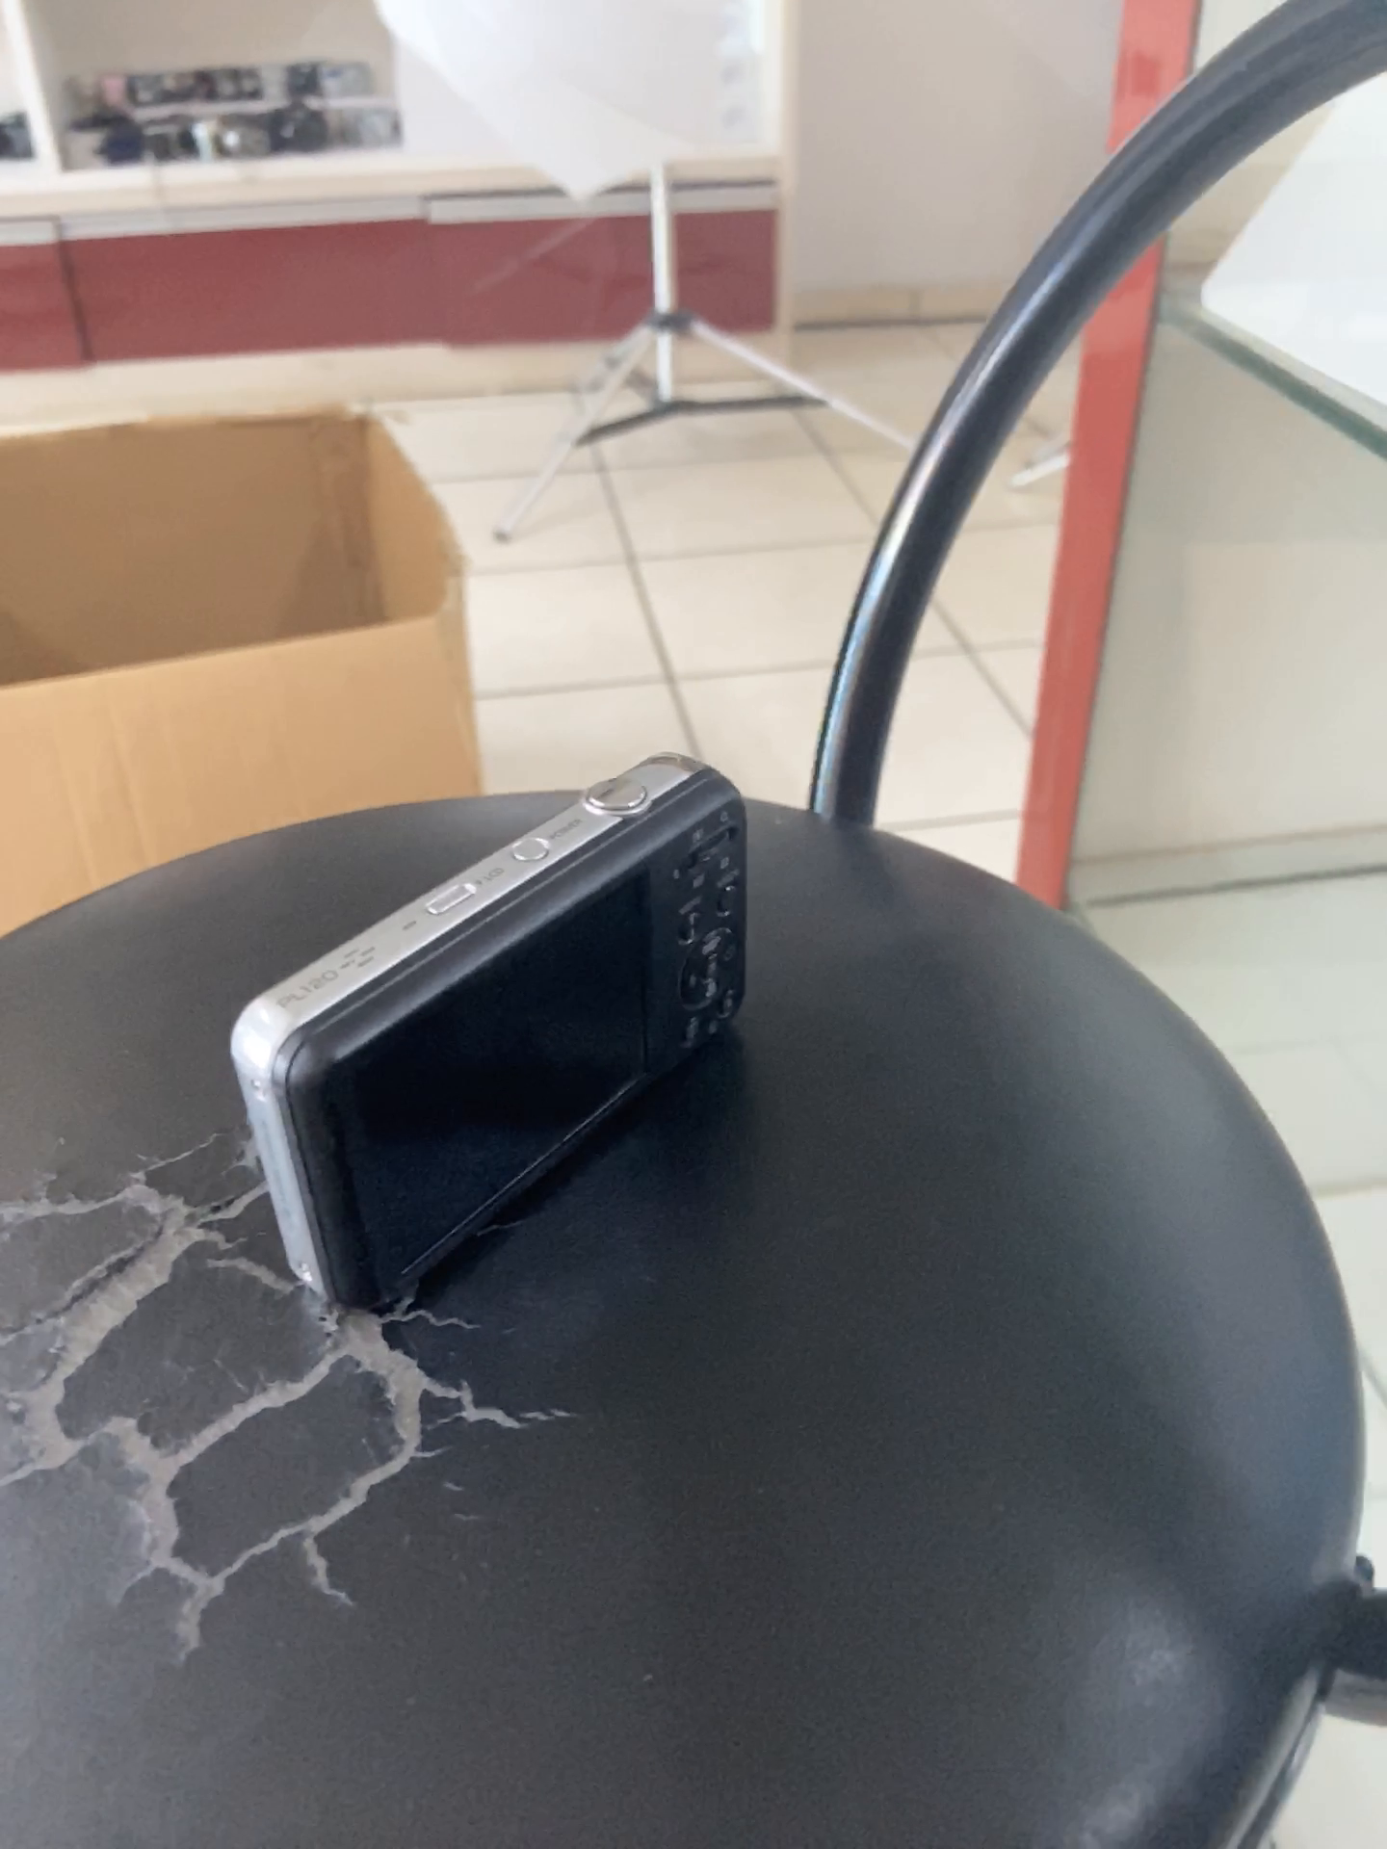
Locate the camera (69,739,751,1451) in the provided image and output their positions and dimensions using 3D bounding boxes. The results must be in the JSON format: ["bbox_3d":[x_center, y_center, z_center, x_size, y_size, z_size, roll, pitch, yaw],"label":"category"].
[{"bbox_3d":[-0.035,0.021,0.223,0.030,0.060,0.100,26,44,33],"label":"camera"}]
